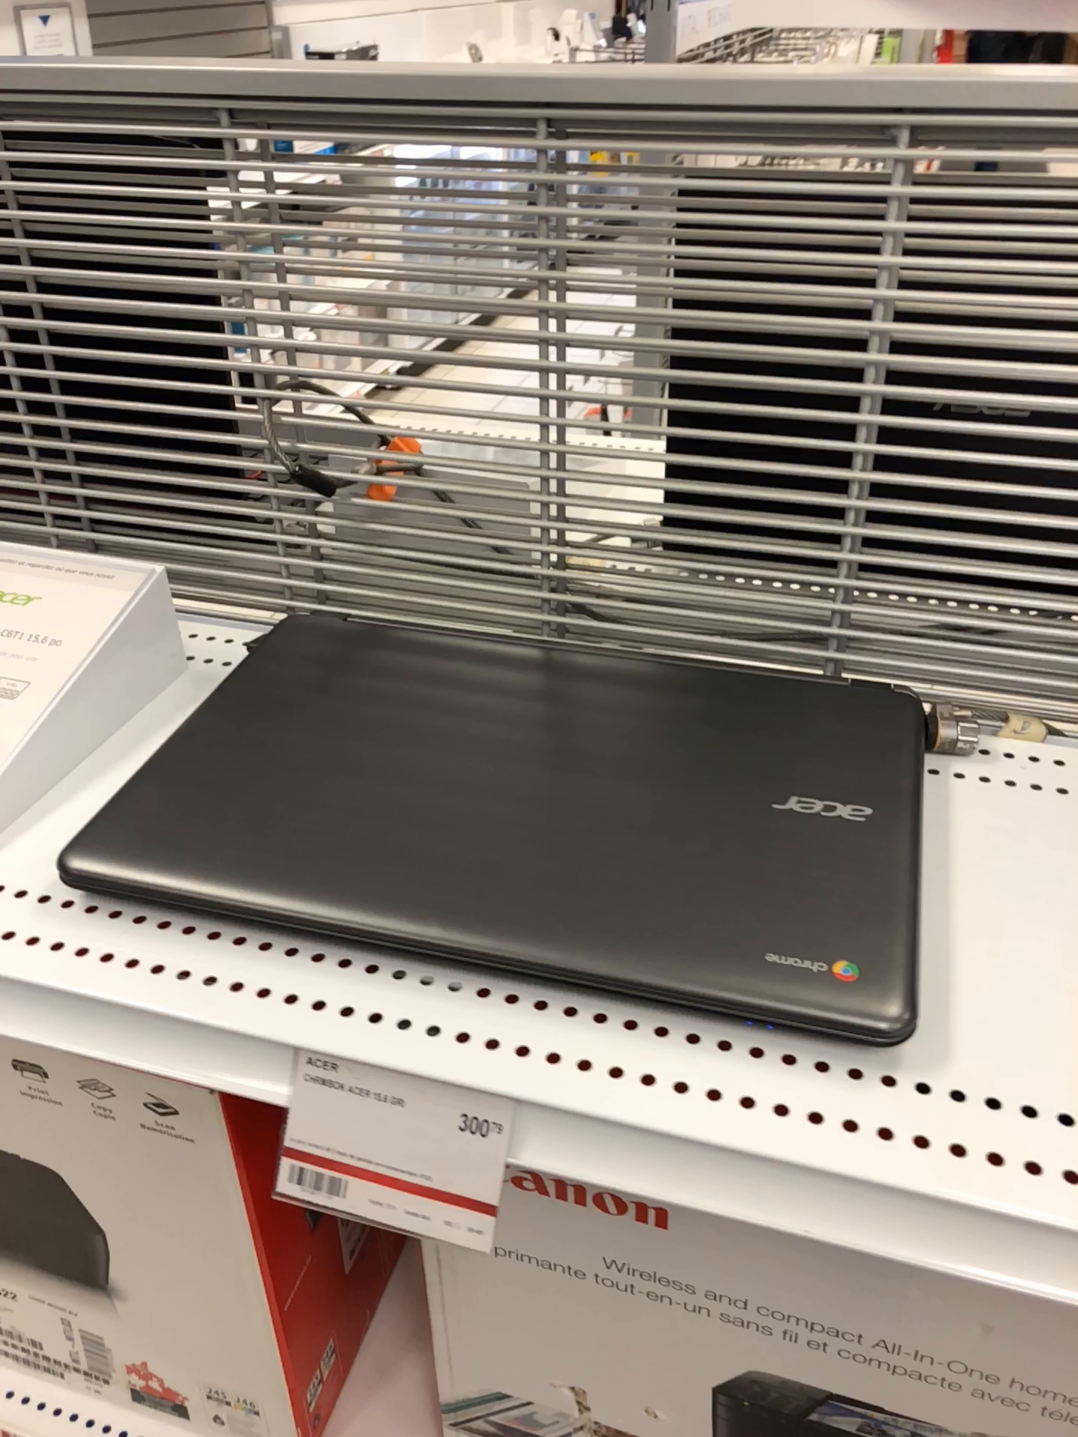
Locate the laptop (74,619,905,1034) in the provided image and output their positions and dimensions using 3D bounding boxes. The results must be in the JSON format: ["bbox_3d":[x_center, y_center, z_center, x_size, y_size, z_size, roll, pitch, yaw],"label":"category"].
[{"bbox_3d":[-0.009,0.027,0.589,0.367,0.001,0.238,8,34,16],"label":"laptop"}]
